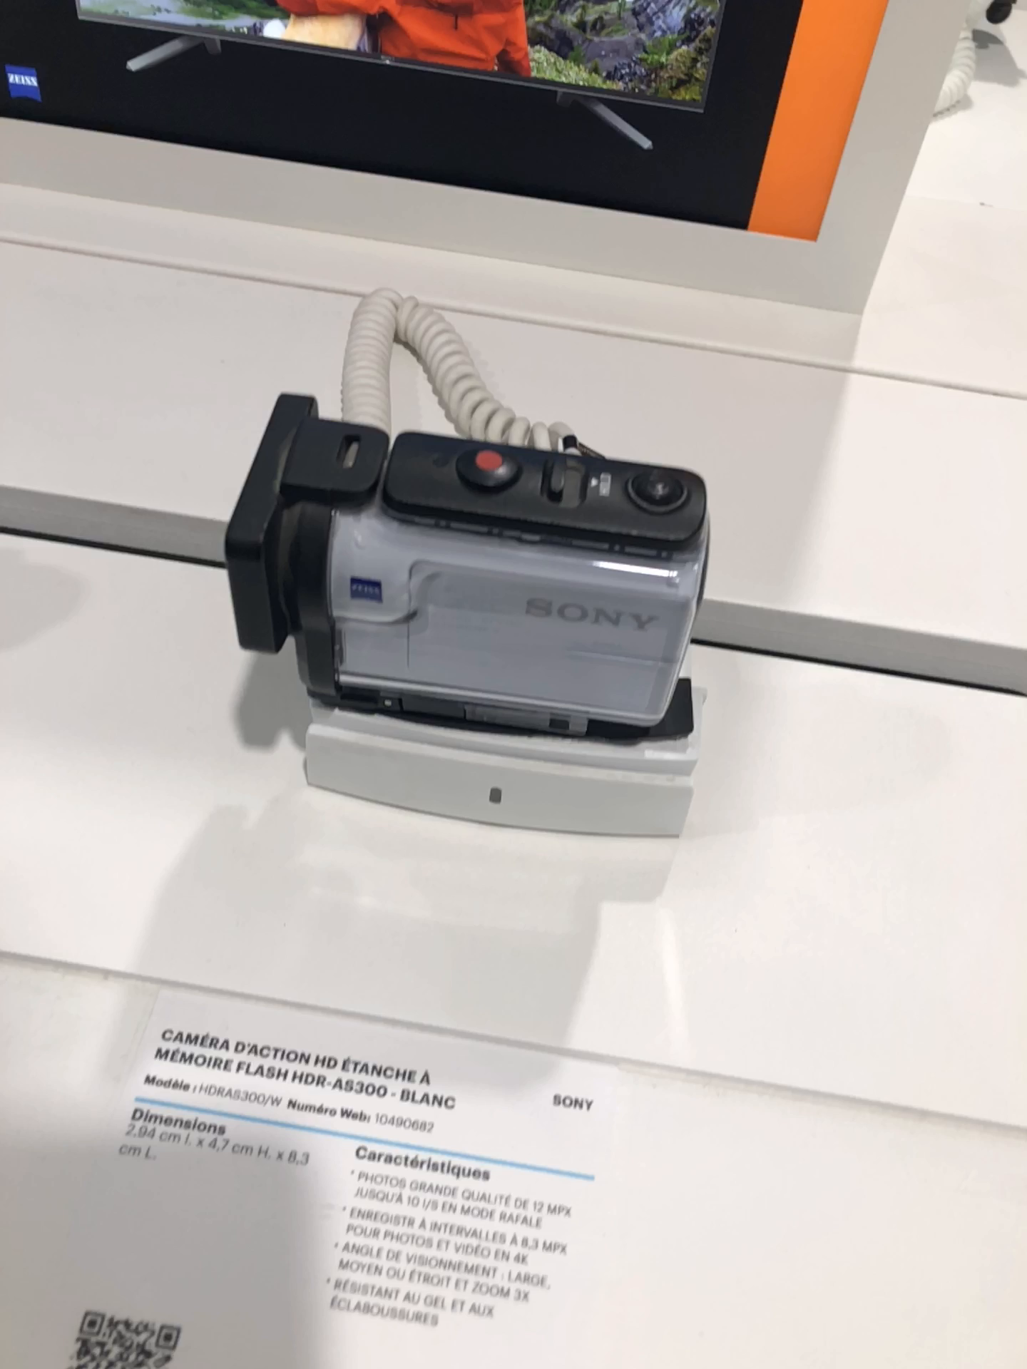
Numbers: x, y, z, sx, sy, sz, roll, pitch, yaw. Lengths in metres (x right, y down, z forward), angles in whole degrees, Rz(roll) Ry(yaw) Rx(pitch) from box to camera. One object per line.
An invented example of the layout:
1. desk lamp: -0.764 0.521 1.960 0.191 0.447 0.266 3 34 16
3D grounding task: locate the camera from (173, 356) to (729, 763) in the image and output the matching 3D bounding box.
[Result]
1. camera: -0.009 -0.024 0.220 0.093 0.044 0.050 8 48 2
